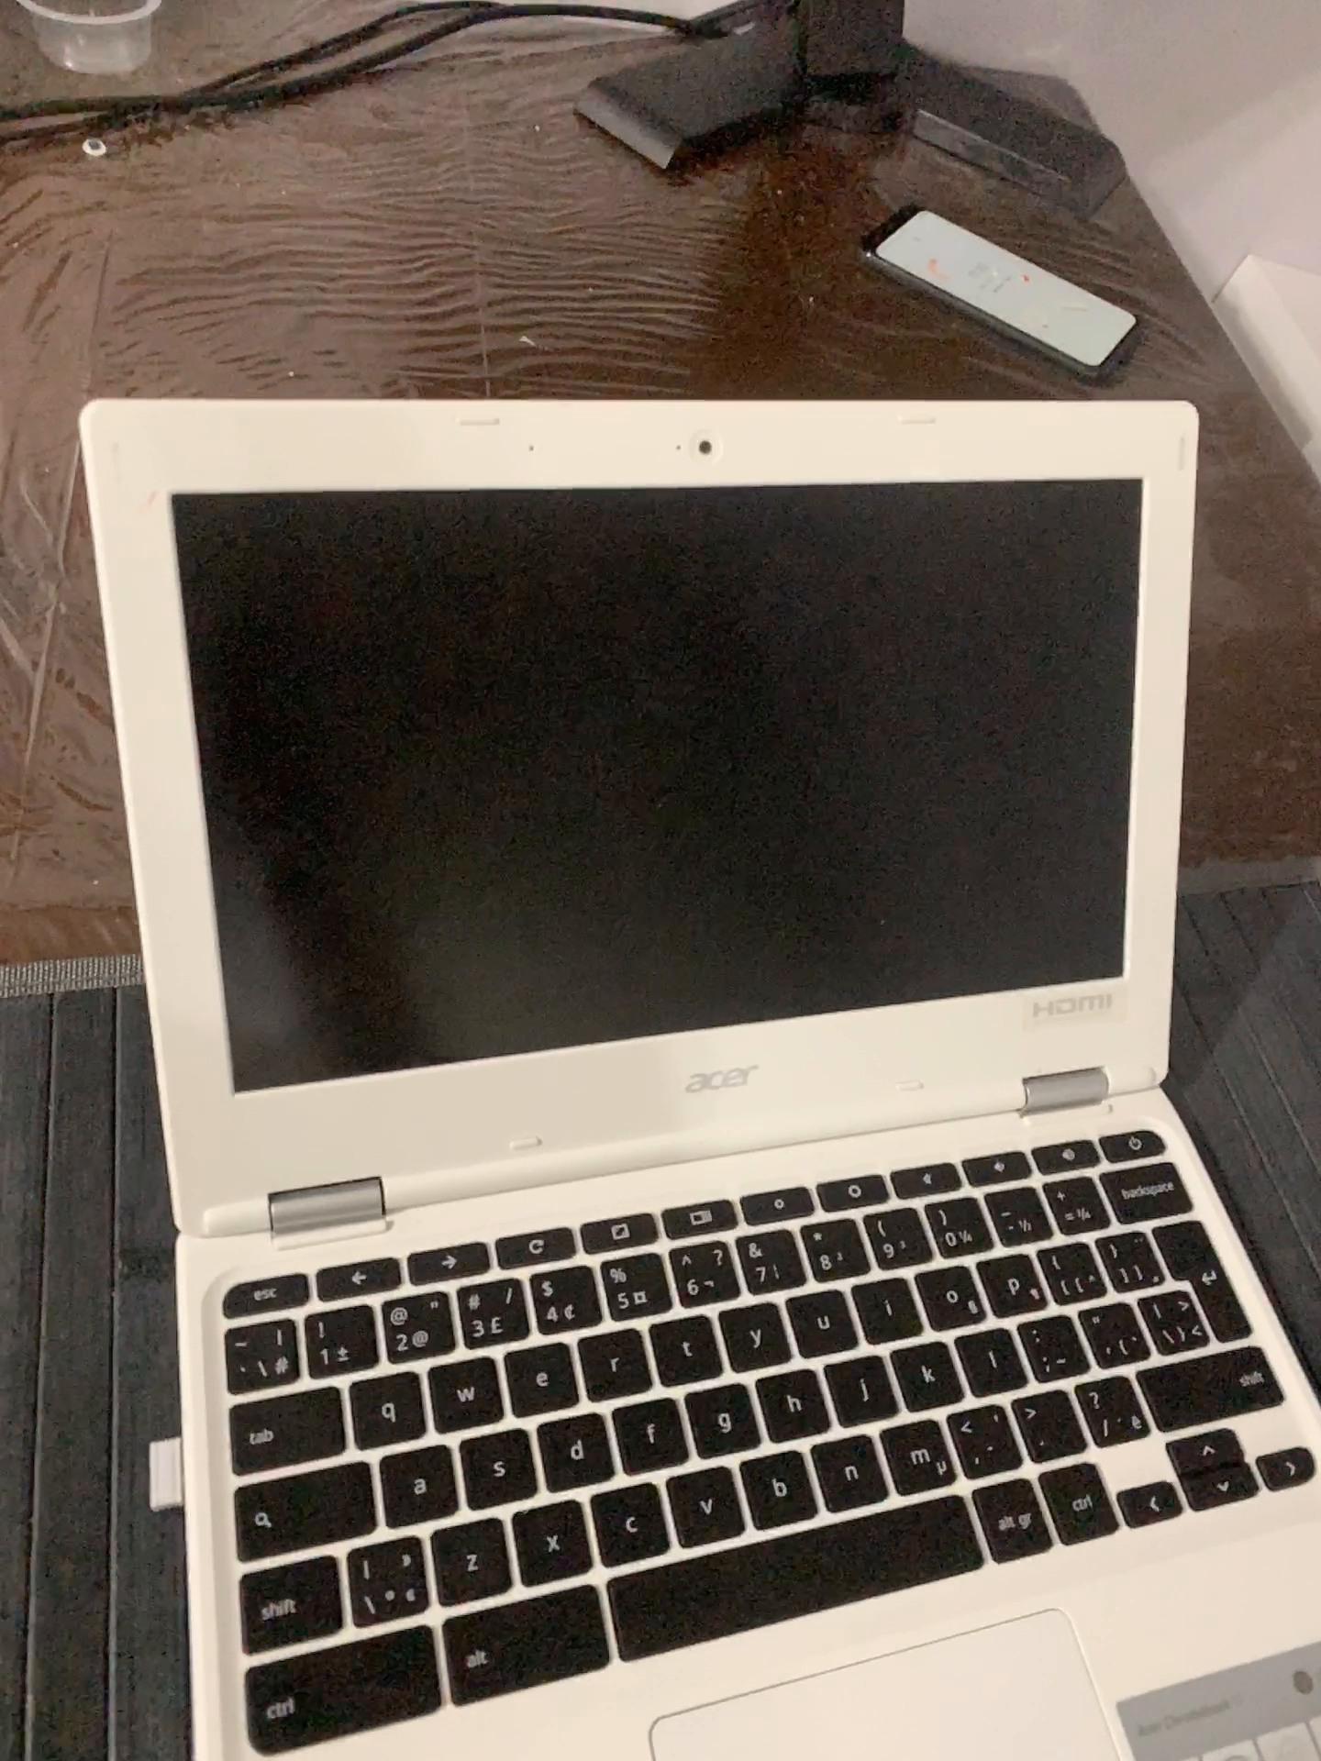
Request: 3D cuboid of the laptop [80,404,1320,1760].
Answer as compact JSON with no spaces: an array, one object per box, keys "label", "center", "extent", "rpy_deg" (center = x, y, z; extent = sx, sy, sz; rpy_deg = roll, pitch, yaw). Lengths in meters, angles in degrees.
[{"label":"laptop","center":[0.036,0.058,0.302],"extent":[0.284,0.142,0.328],"rpy_deg":[-6,56,-16]}]
